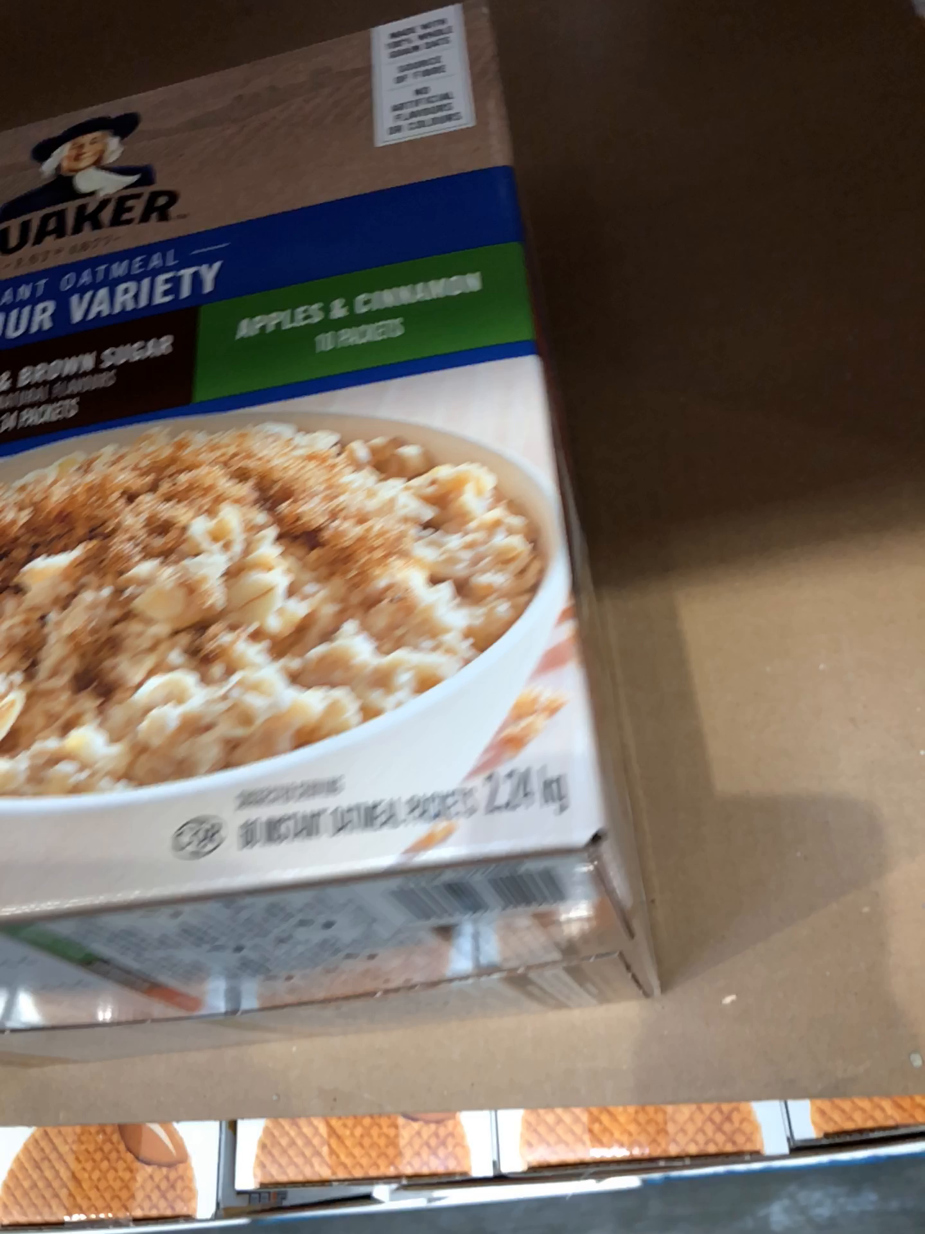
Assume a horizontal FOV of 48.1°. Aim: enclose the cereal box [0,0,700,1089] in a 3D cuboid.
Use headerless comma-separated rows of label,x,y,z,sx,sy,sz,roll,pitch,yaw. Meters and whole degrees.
cereal box,-0.072,-0.012,0.330,0.240,0.200,0.260,-10,60,9
